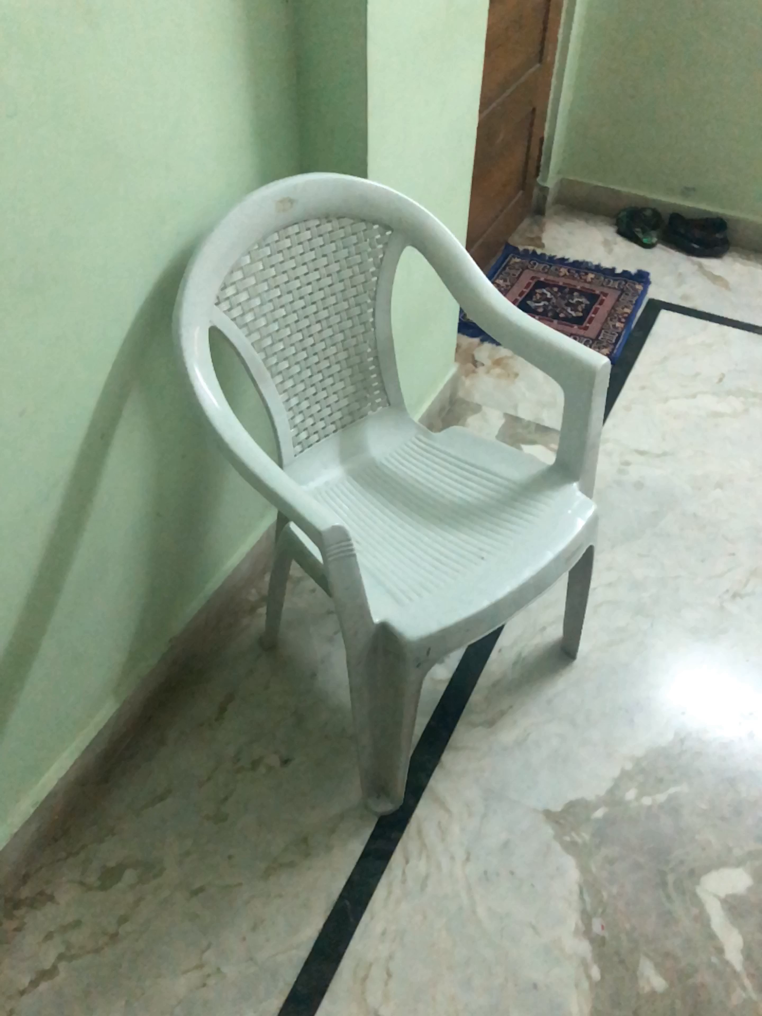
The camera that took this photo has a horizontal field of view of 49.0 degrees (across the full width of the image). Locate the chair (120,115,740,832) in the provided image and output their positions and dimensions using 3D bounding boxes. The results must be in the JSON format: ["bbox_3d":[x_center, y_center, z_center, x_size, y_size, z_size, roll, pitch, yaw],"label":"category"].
[{"bbox_3d":[0.044,-0.043,1.299,0.531,0.825,0.532,-29,52,-27],"label":"chair"}]
